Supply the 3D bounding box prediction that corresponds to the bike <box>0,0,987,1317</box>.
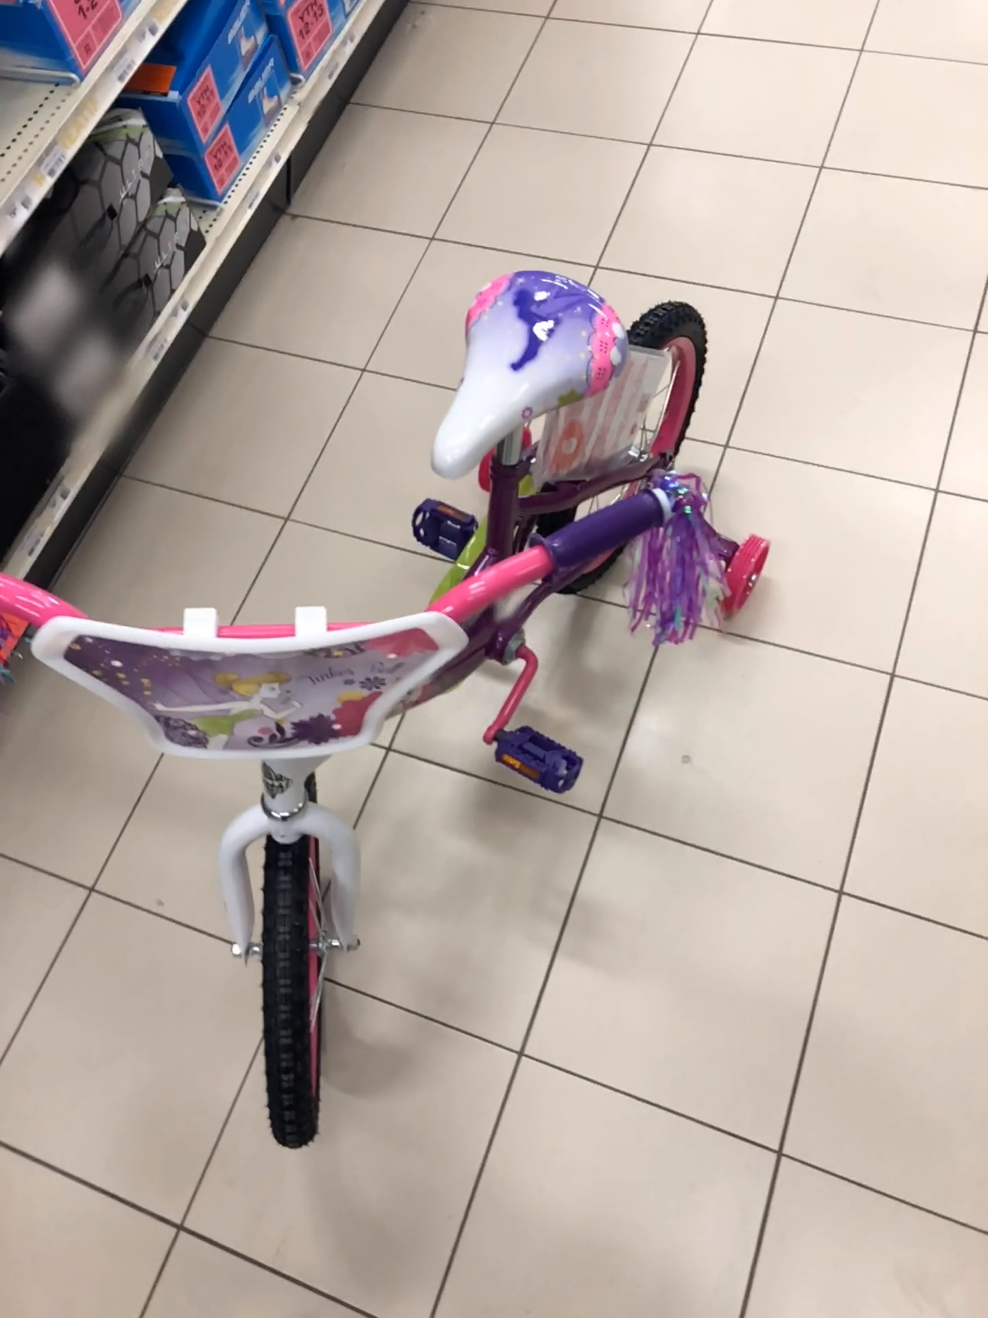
[{"bbox_3d":[-0.011,-0.075,1.056,0.596,0.811,1.068,21,68,17],"label":"bike"}]
